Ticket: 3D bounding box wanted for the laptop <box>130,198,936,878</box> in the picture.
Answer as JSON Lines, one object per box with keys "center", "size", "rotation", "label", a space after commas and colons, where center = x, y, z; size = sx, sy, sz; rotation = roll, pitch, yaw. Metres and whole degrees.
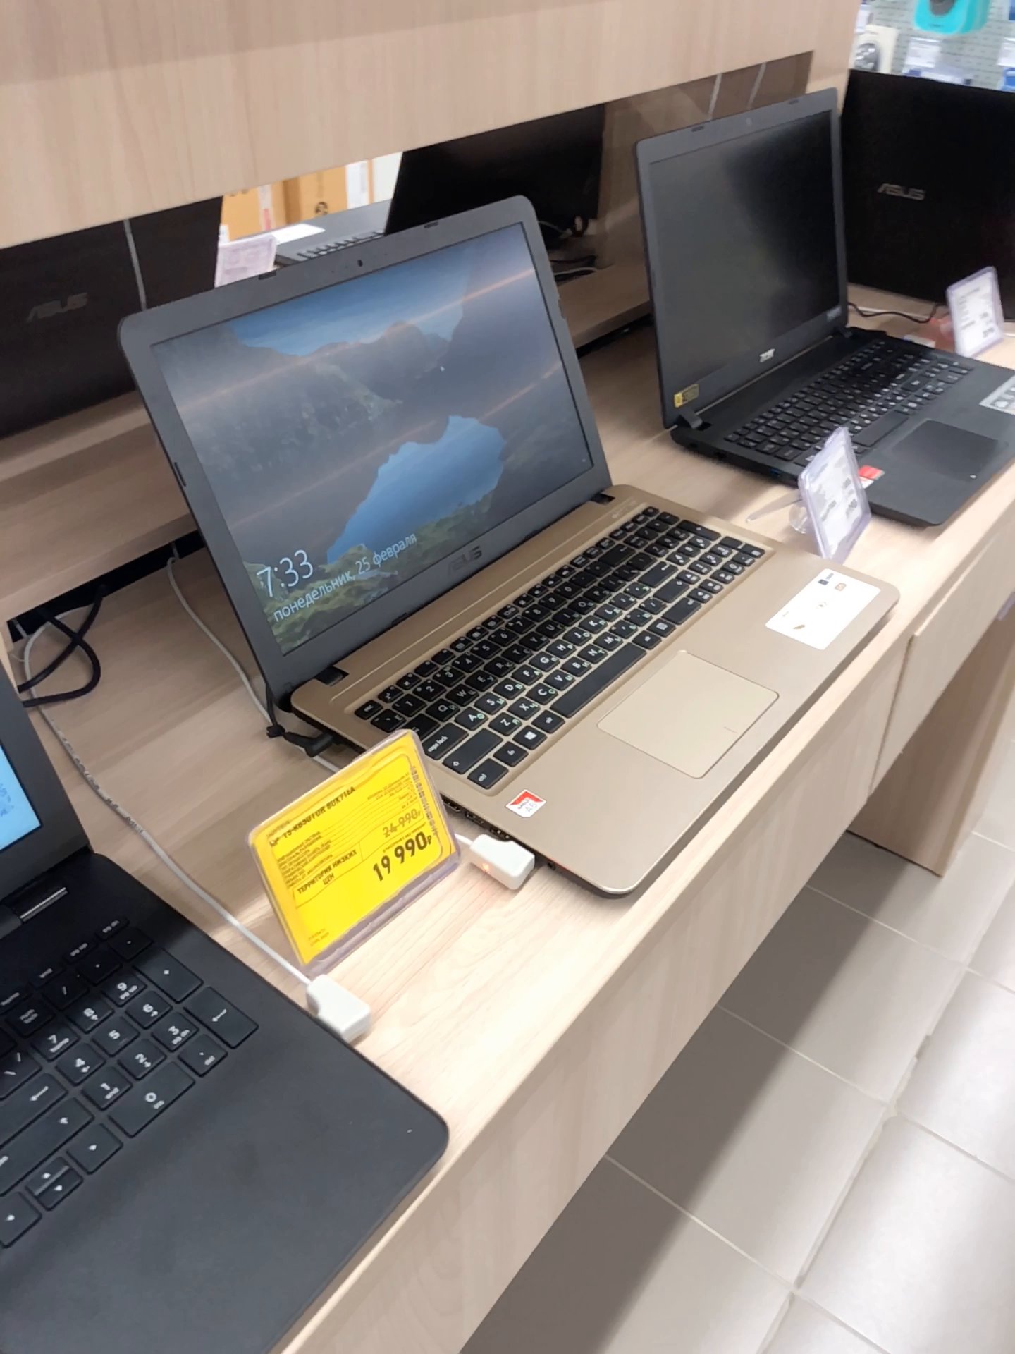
{"center": [0.028, -0.135, 0.730], "size": [0.350, 0.208, 0.367], "rotation": [26, 42, 27], "label": "laptop"}
